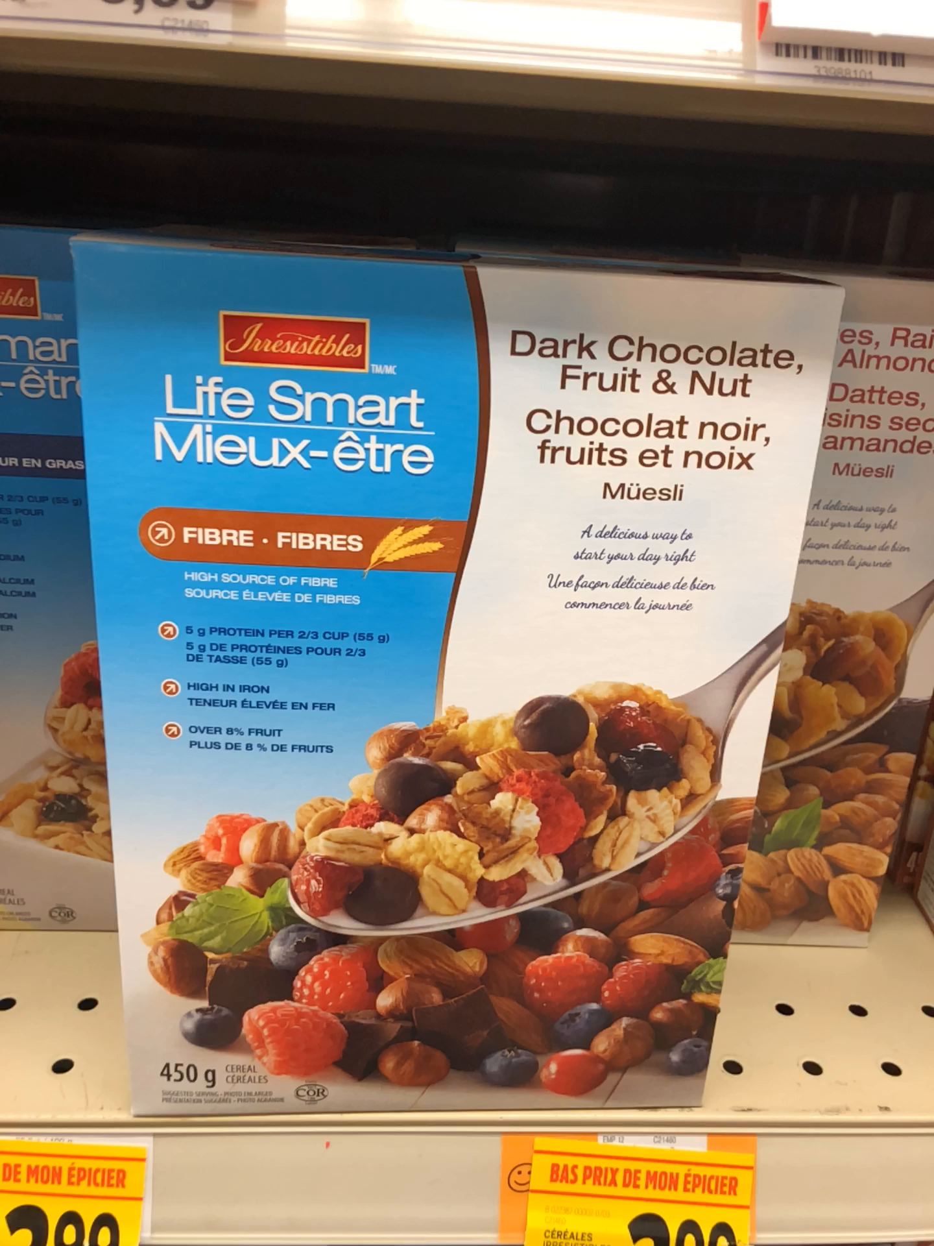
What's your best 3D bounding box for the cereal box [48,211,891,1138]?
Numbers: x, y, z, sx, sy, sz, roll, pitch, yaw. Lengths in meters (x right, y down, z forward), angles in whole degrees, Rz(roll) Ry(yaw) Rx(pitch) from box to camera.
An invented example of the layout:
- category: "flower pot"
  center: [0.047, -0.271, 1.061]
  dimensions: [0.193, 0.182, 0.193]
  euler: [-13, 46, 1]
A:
- category: "cereal box"
  center: [-0.005, 0.025, 0.275]
  dimensions: [0.170, 0.238, 0.050]
  euler: [2, 21, -5]
